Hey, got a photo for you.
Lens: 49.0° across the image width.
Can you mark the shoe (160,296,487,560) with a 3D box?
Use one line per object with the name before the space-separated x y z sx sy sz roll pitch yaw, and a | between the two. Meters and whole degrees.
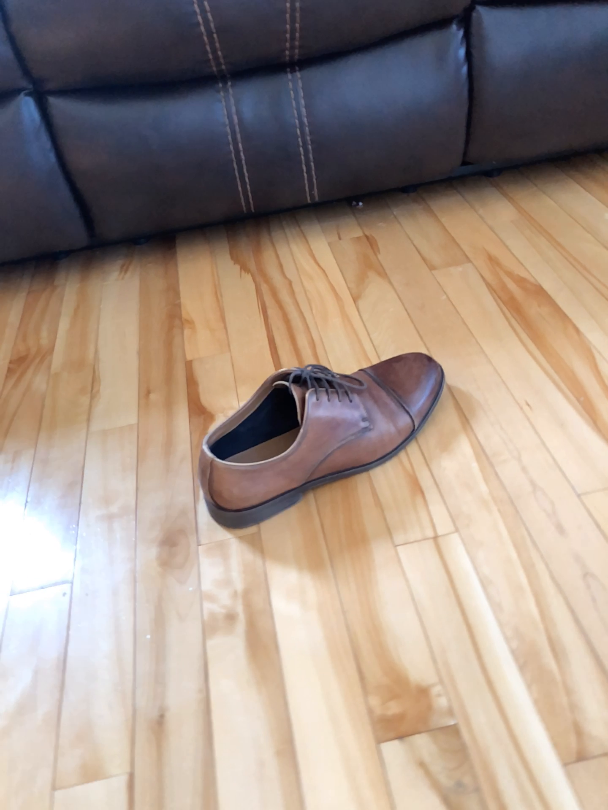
shoe | 0.029 0.012 0.669 0.310 0.100 0.100 -28 44 -19
